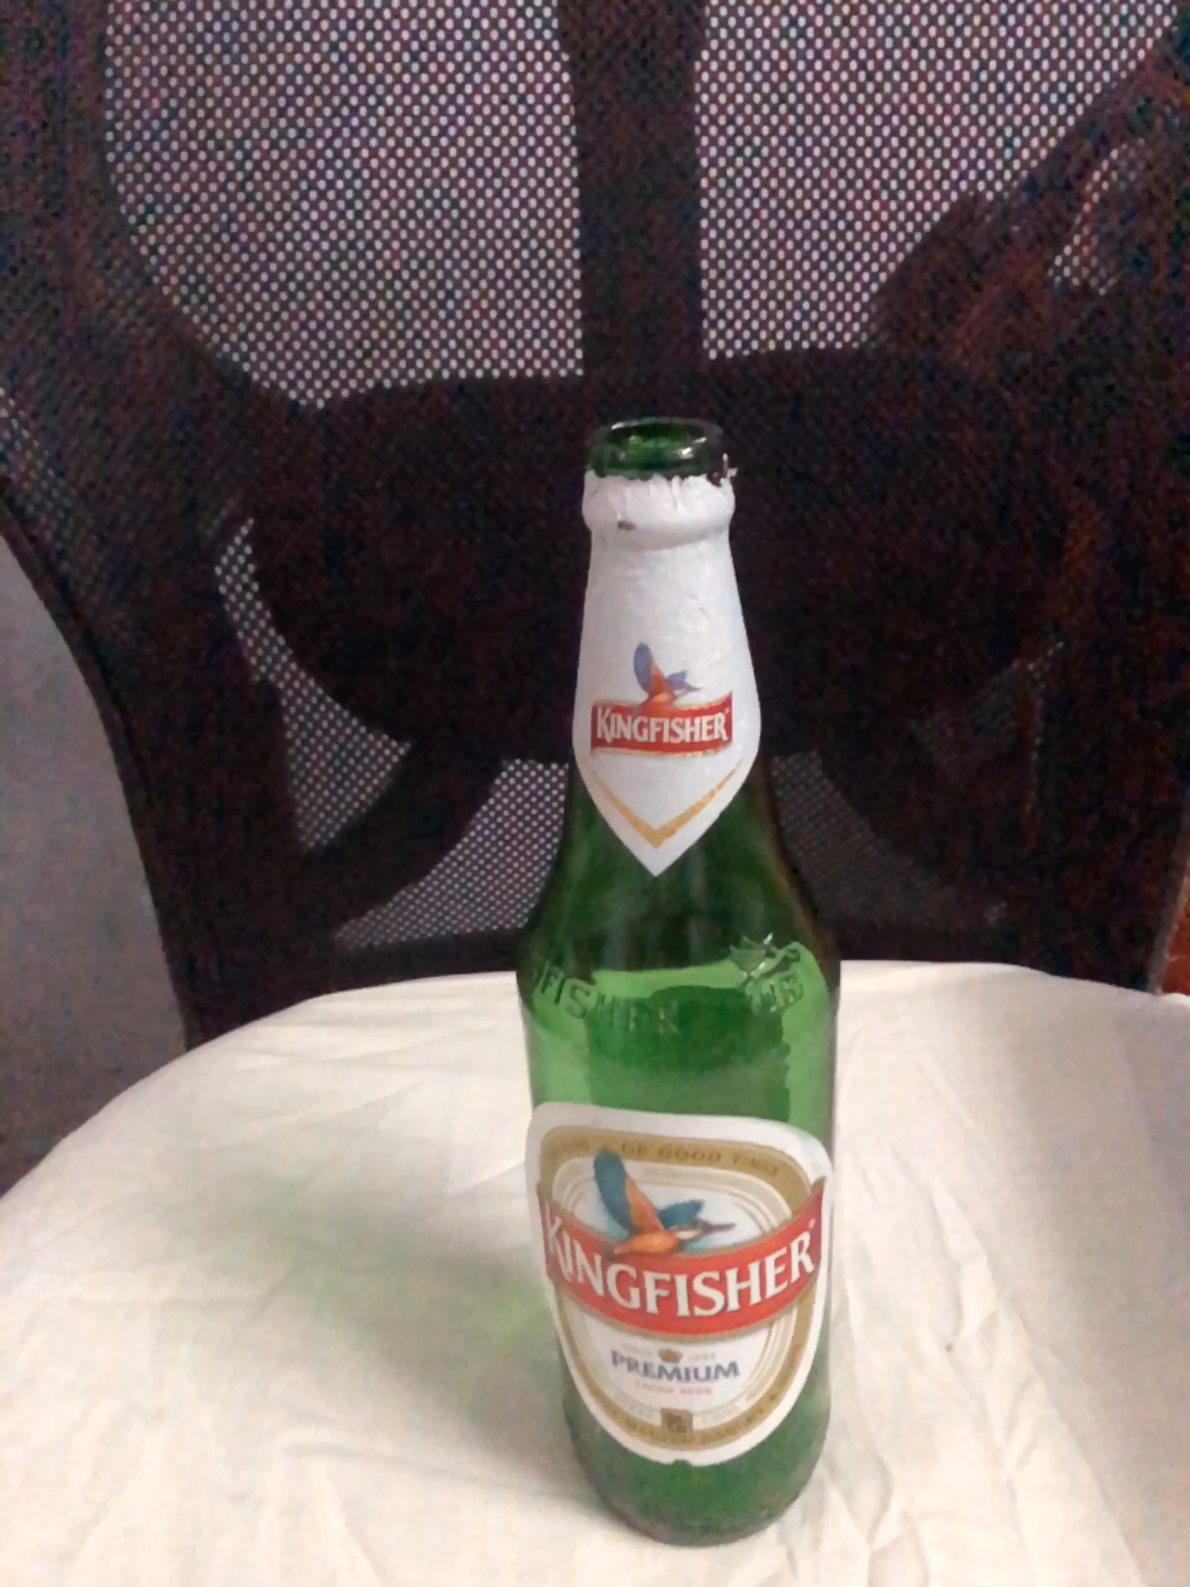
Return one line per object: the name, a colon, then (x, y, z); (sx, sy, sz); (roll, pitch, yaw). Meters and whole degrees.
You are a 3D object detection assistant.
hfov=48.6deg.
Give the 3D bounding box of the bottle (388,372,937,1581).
bottle: (0.022, 0.050, 0.282); (0.080, 0.259, 0.070); (4, 30, 13)
